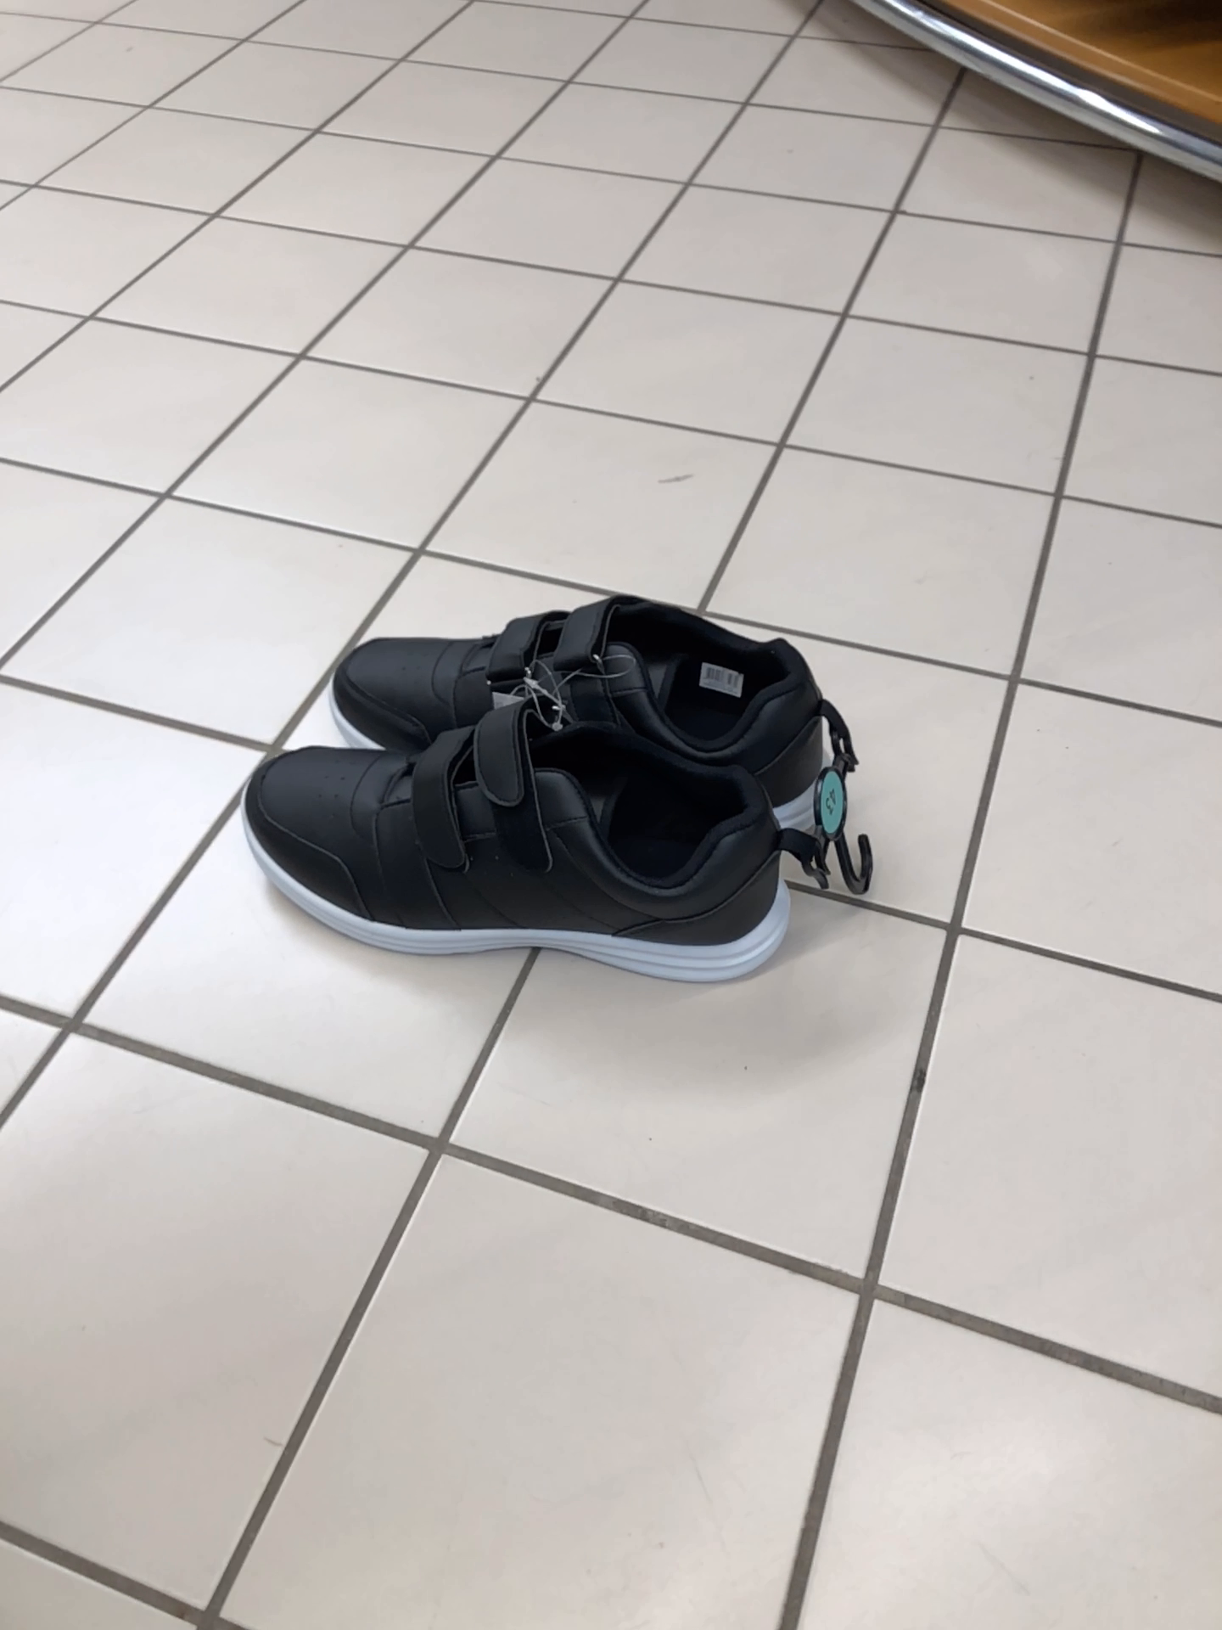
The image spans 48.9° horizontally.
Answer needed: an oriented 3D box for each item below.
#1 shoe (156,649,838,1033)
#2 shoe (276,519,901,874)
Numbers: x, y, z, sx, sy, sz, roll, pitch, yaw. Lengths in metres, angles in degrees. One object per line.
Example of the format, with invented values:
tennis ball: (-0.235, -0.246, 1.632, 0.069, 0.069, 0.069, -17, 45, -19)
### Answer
shoe: (-0.052, 0.010, 0.679, 0.310, 0.099, 0.101, 10, 49, 10)
shoe: (-0.010, -0.069, 0.737, 0.310, 0.099, 0.101, 12, 49, 11)
